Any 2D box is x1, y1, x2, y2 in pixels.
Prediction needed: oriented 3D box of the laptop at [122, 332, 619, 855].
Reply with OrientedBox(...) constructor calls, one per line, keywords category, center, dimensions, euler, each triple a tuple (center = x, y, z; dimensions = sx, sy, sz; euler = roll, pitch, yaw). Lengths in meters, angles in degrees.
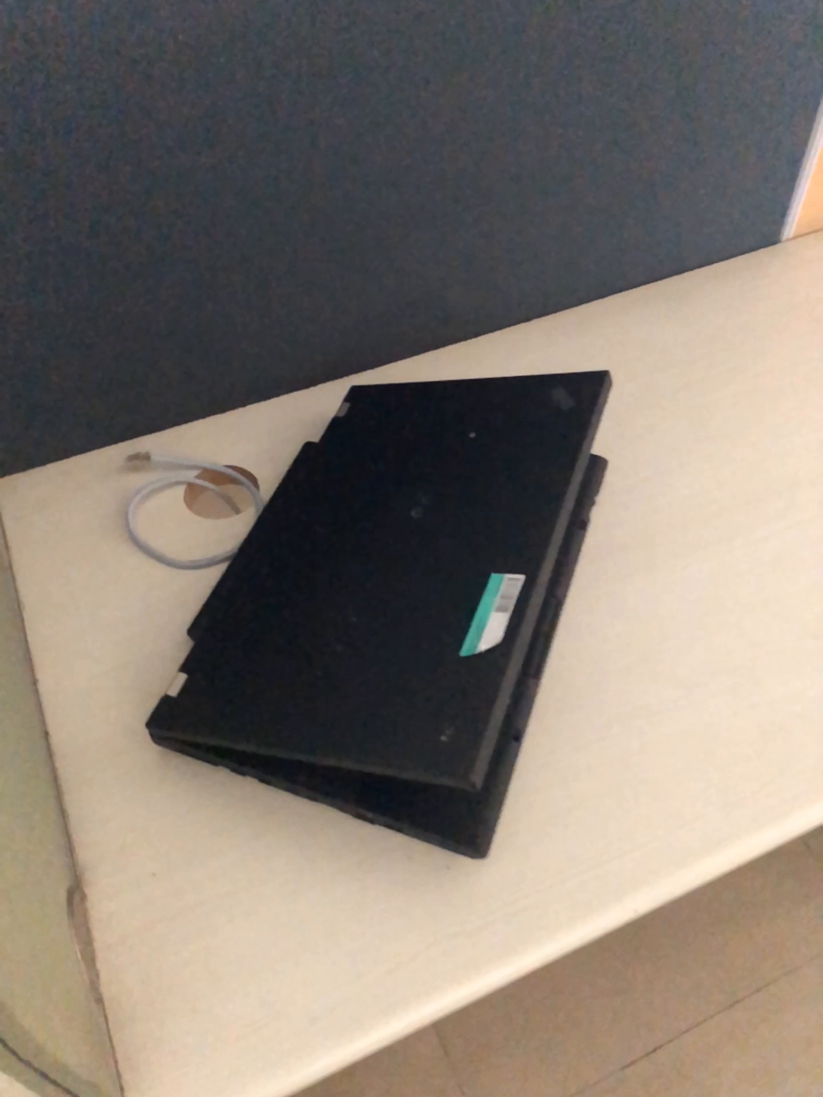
OrientedBox(category="laptop", center=(-0.004, 0.002, 0.665), dimensions=(0.234, 0.077, 0.365), euler=(15, 52, 12))
